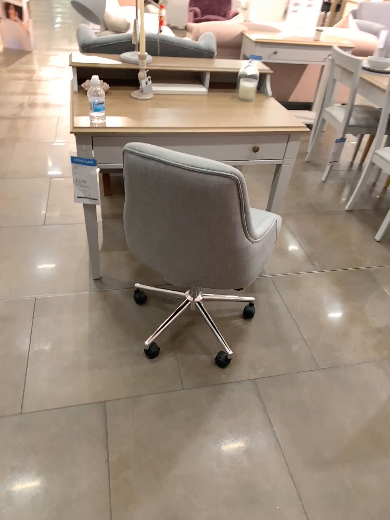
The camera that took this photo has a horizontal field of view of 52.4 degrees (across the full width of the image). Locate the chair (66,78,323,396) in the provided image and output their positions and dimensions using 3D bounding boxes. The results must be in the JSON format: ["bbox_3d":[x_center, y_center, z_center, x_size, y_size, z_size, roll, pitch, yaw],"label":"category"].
[{"bbox_3d":[0.011,-0.109,1.539,0.625,0.890,0.641,18,39,15],"label":"chair"}]
